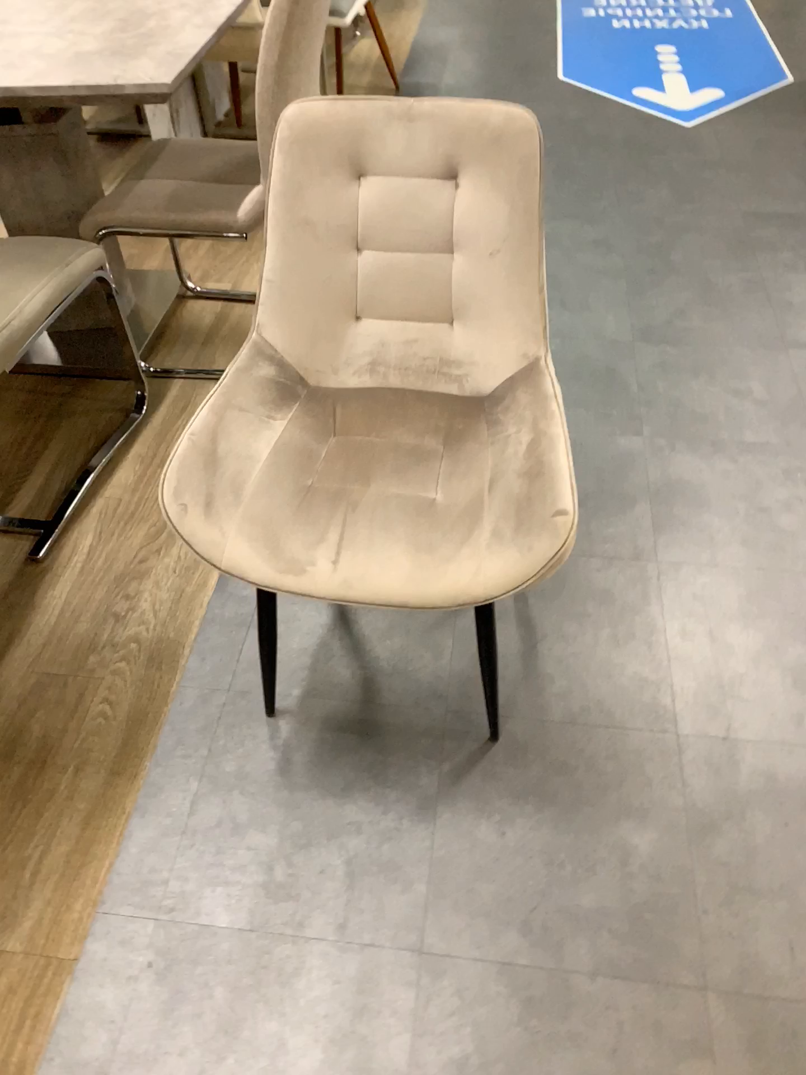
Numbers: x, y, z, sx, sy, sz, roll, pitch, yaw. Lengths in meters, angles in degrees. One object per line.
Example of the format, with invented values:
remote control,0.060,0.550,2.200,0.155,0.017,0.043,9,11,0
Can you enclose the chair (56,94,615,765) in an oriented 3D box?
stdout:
chair,-0.016,-0.154,1.317,0.566,0.818,0.613,5,46,8
